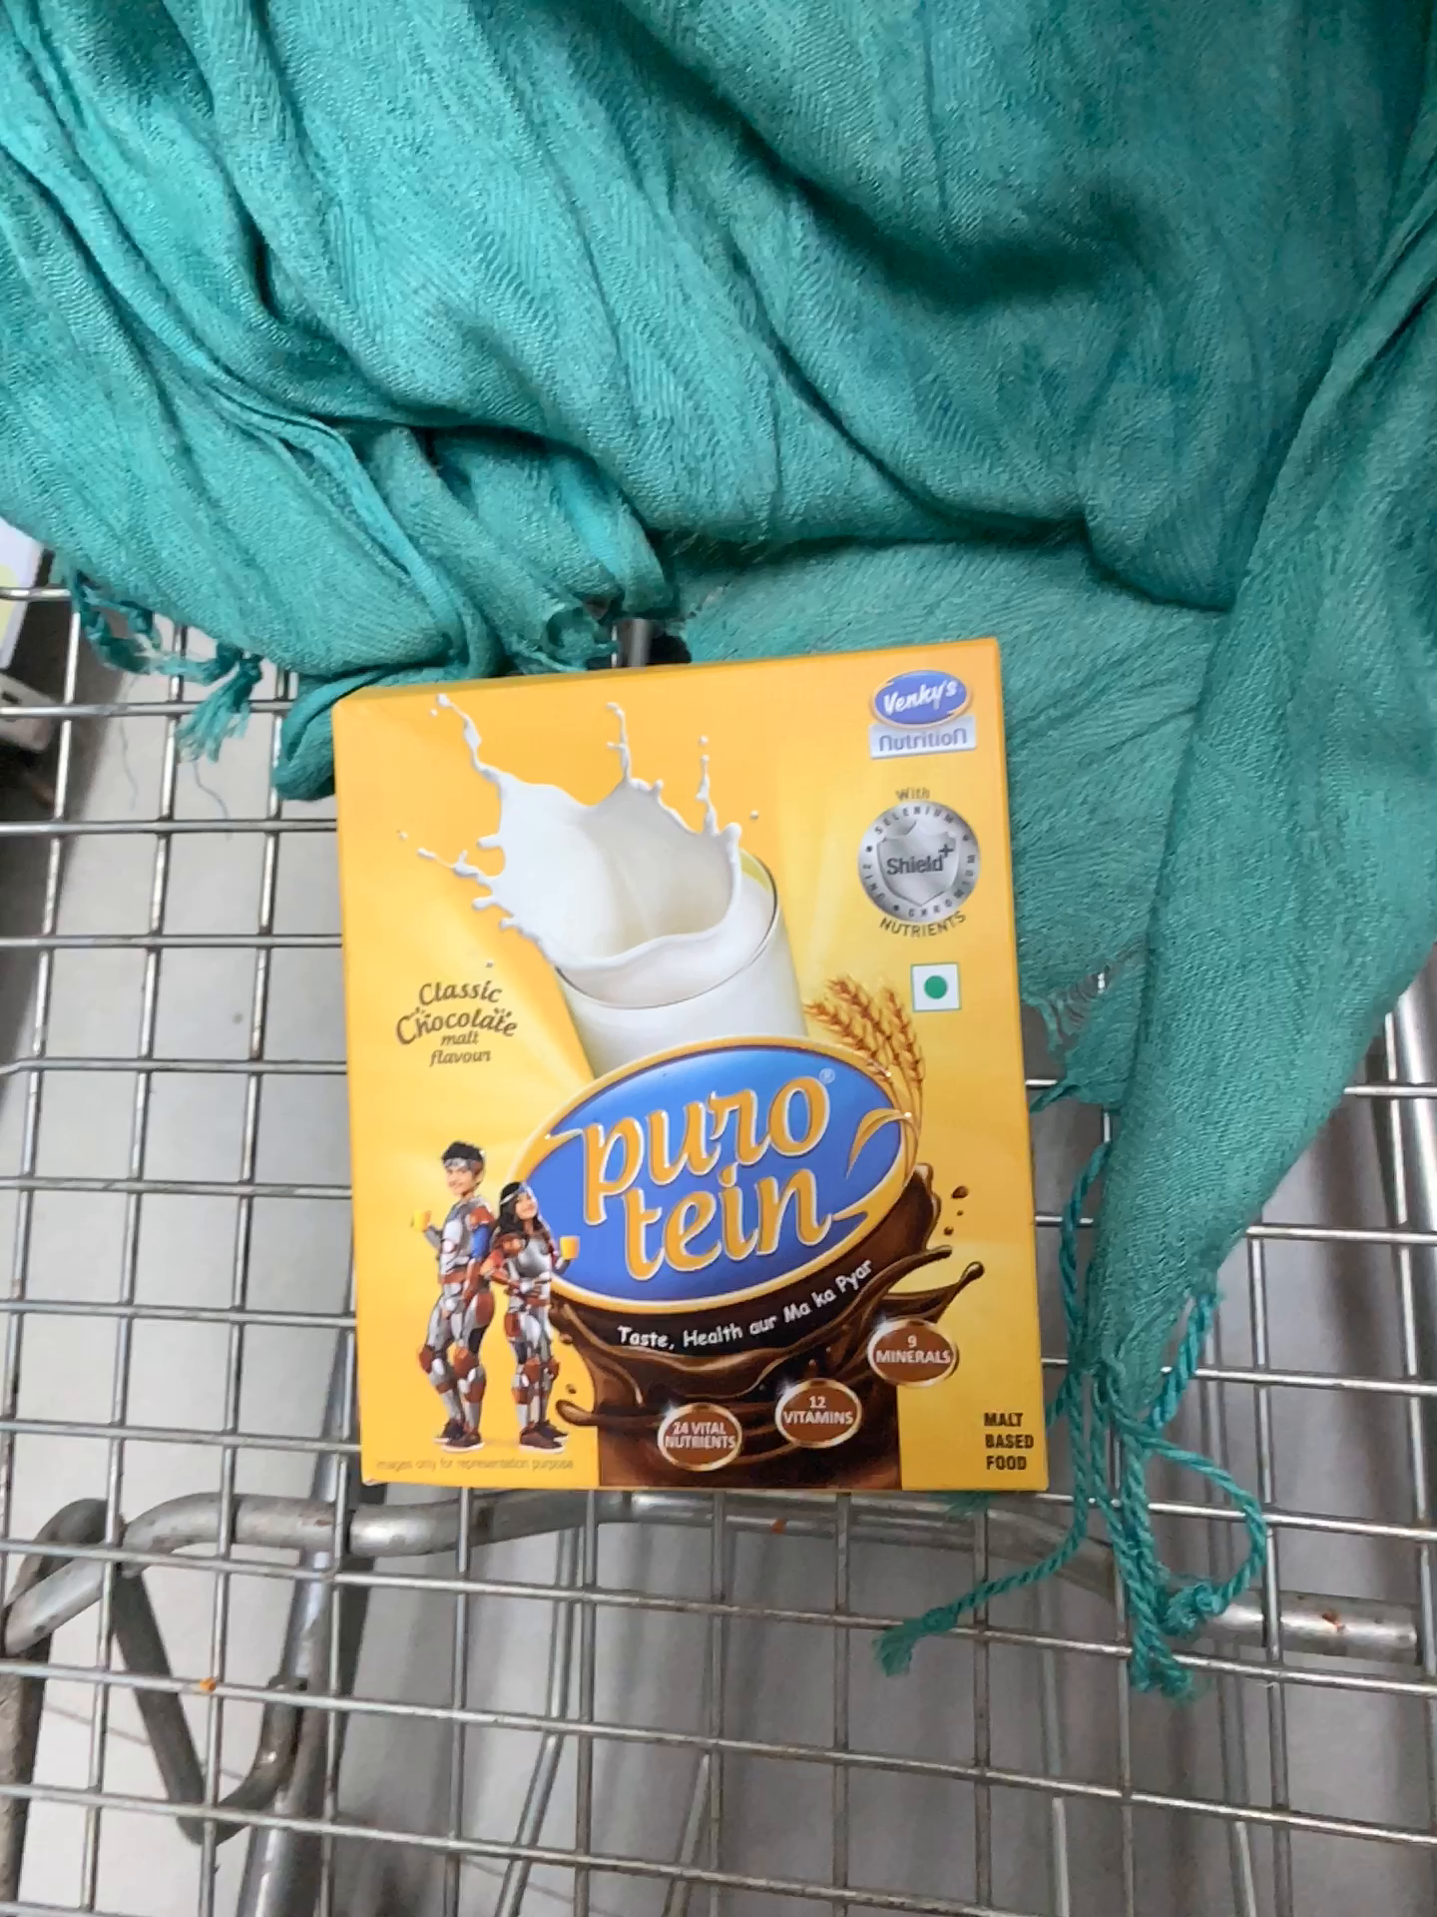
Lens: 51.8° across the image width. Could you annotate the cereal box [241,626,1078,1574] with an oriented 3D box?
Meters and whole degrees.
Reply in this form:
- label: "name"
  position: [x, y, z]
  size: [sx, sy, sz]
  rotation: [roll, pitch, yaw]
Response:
- label: "cereal box"
  position: [-0.010, 0.028, 0.286]
  size: [0.140, 0.050, 0.160]
  rotation: [-4, 89, 9]
